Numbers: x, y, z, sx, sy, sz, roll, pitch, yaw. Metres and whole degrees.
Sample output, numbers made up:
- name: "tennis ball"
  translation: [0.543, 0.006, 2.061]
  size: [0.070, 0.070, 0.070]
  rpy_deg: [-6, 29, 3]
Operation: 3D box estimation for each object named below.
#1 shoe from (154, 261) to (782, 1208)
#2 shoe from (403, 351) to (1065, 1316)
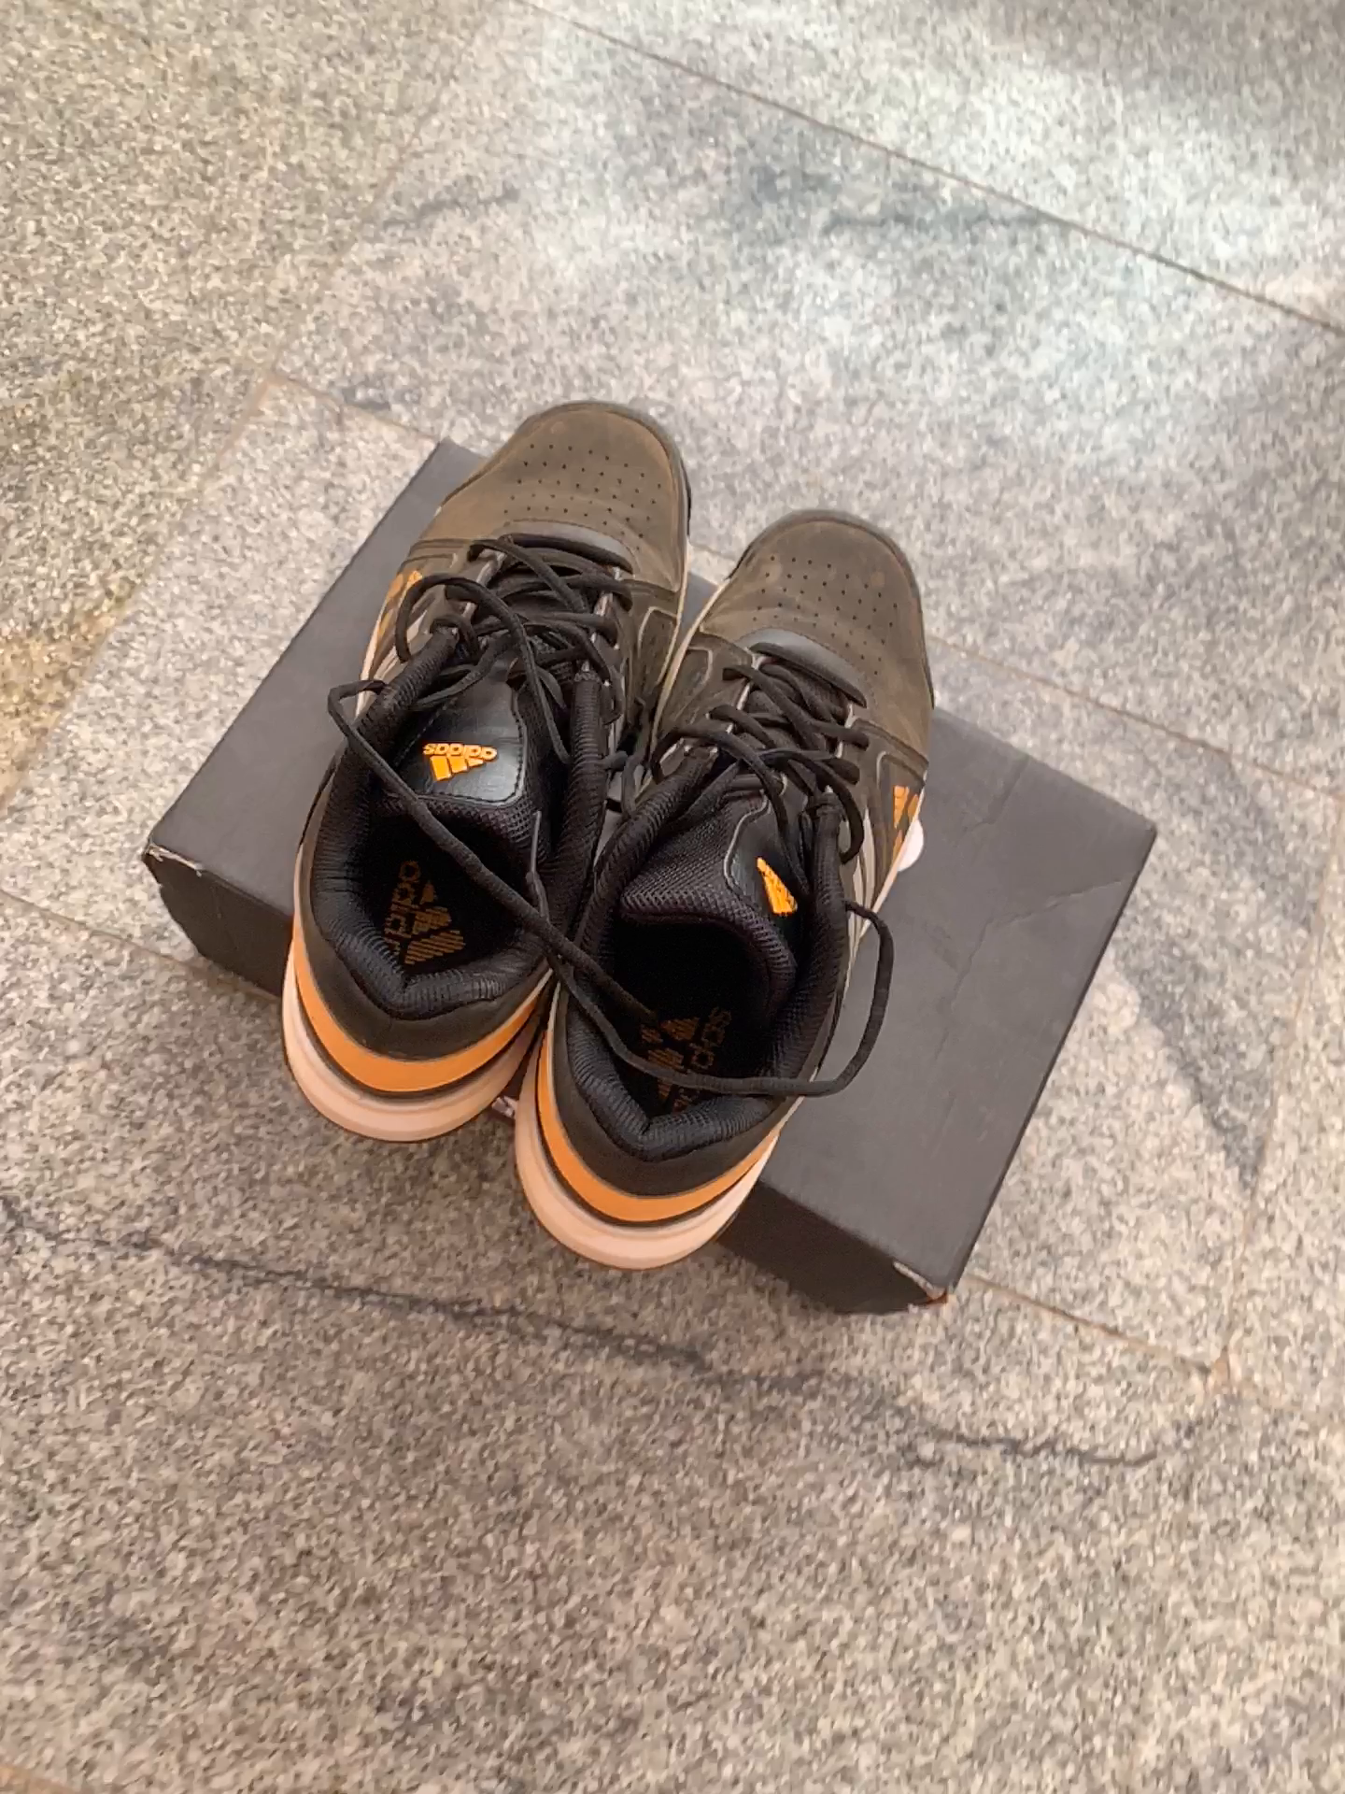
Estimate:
- name: "shoe"
  translation: [-0.063, -0.057, 0.484]
  size: [0.110, 0.090, 0.301]
  rpy_deg: [20, 70, -8]
- name: "shoe"
  translation: [0.025, -0.024, 0.461]
  size: [0.110, 0.090, 0.291]
  rpy_deg: [22, 70, 1]
